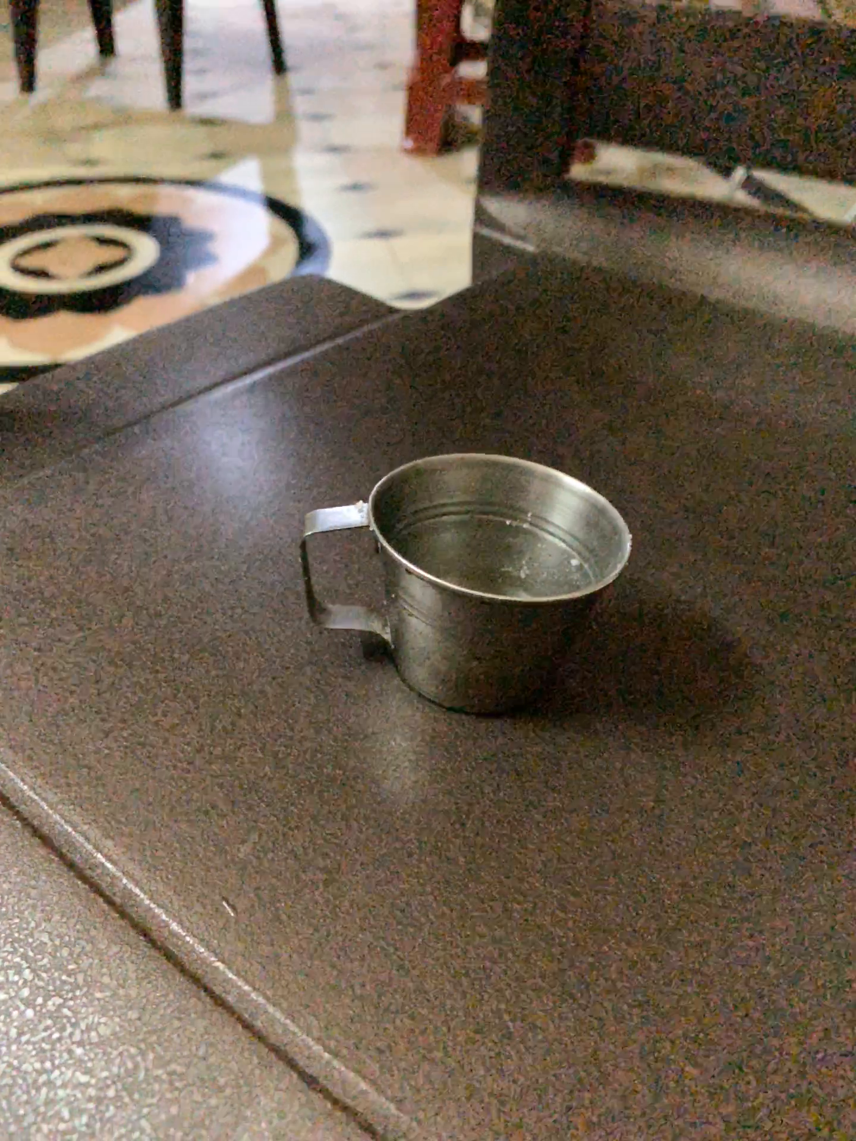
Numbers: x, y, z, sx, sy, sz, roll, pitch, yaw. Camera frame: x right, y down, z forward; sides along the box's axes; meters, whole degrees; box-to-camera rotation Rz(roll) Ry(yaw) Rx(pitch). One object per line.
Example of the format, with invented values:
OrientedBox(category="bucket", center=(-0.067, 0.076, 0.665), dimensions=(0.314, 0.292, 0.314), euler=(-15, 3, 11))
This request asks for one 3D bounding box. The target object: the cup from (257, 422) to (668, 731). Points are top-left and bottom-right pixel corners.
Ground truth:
OrientedBox(category="cup", center=(0.005, 0.000, 0.209), dimensions=(0.080, 0.040, 0.060), euler=(2, 41, -4))
